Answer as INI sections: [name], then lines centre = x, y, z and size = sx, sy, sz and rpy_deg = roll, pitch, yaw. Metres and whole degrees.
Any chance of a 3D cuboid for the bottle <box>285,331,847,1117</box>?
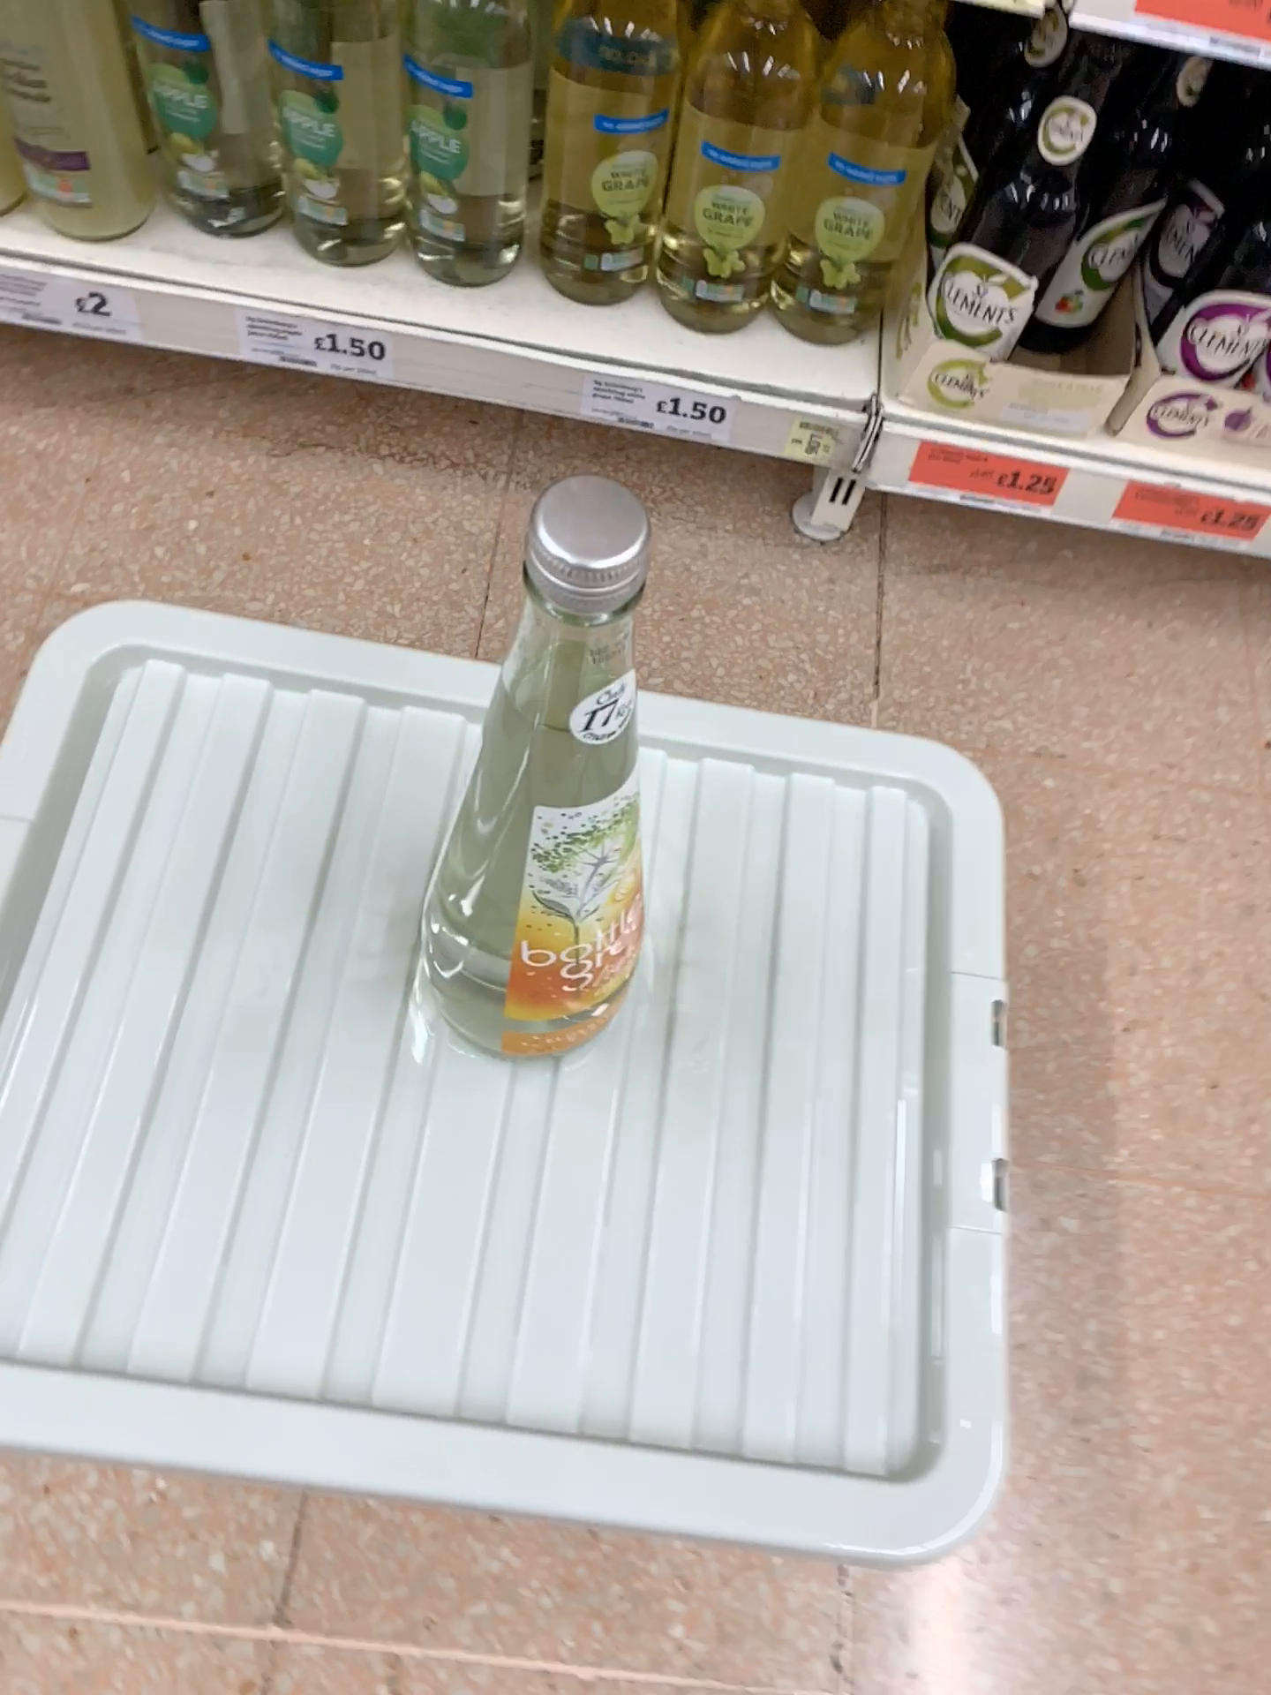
[bottle]
centre = -0.033, -0.009, 0.424
size = 0.090, 0.289, 0.090
rpy_deg = 3, 65, -7
